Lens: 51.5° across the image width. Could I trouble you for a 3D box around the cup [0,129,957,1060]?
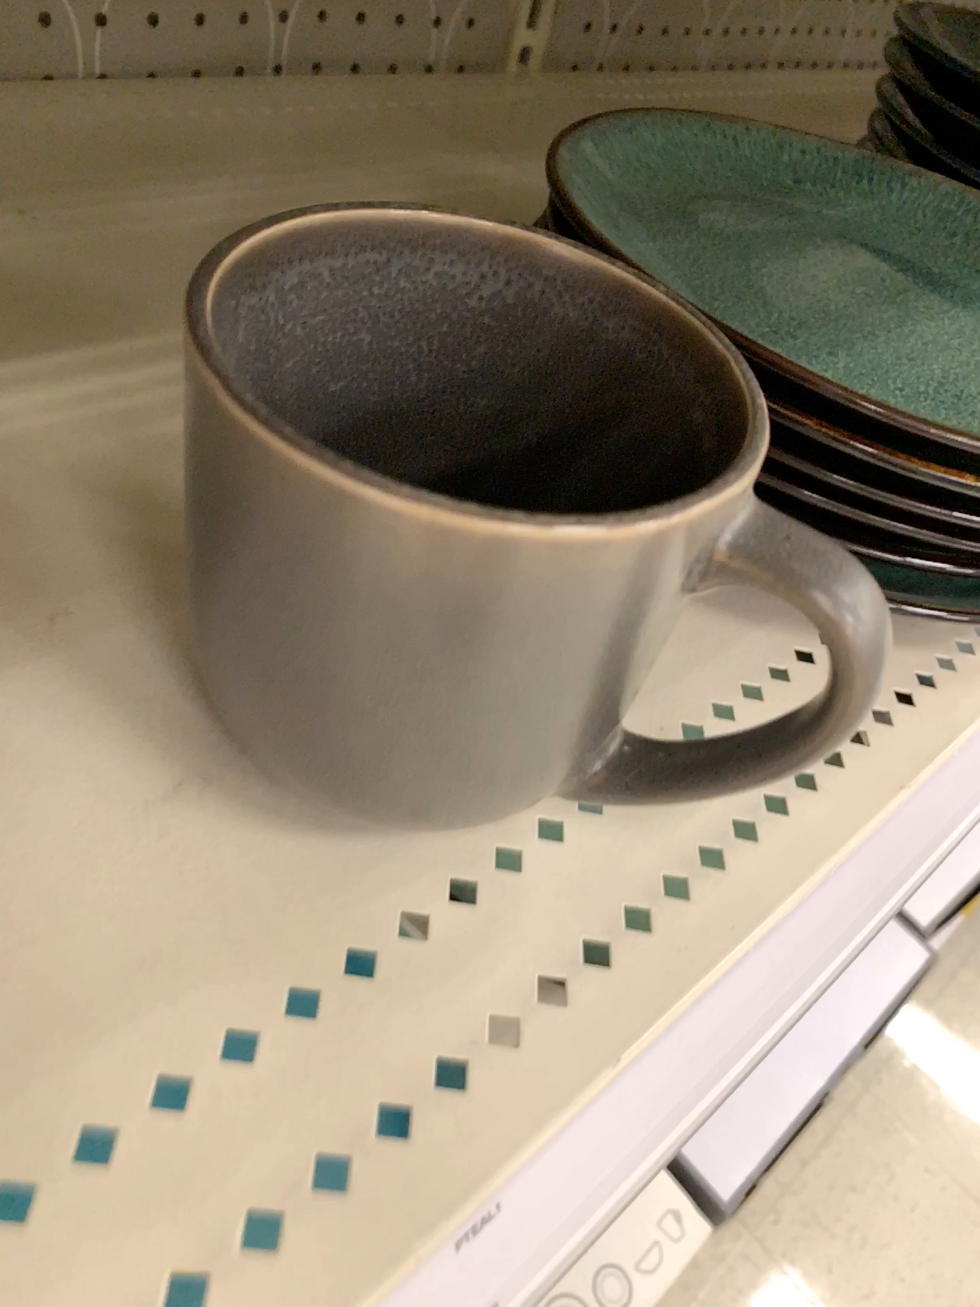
[{"bbox_3d":[-0.003,-0.019,0.185,0.130,0.080,0.101,28,44,8],"label":"cup"}]
